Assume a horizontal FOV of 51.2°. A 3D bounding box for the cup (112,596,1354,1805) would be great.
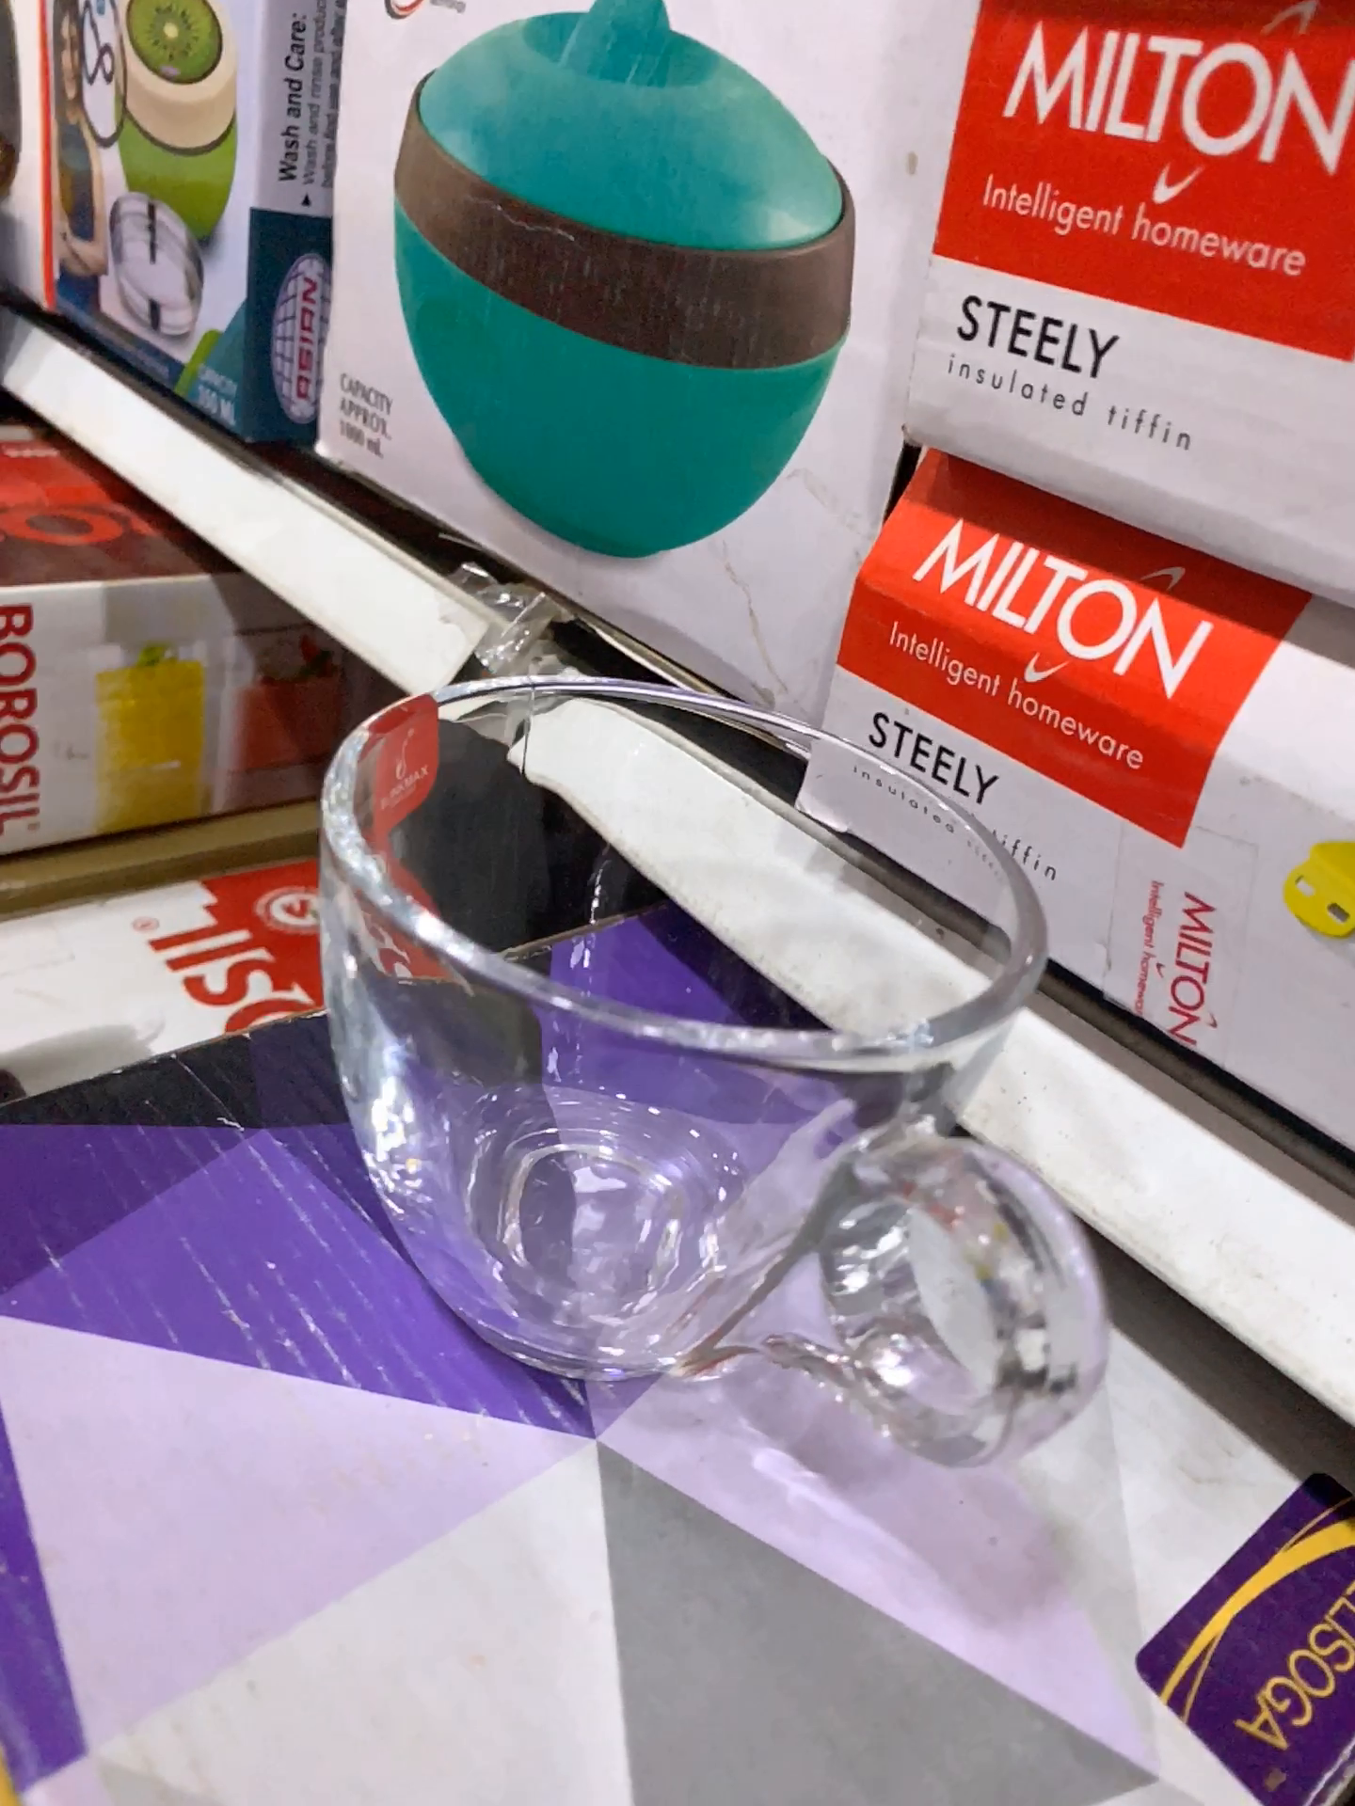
[{"bbox_3d":[-0.001,0.018,0.157,0.080,0.059,0.111,-16,39,-35],"label":"cup"}]
